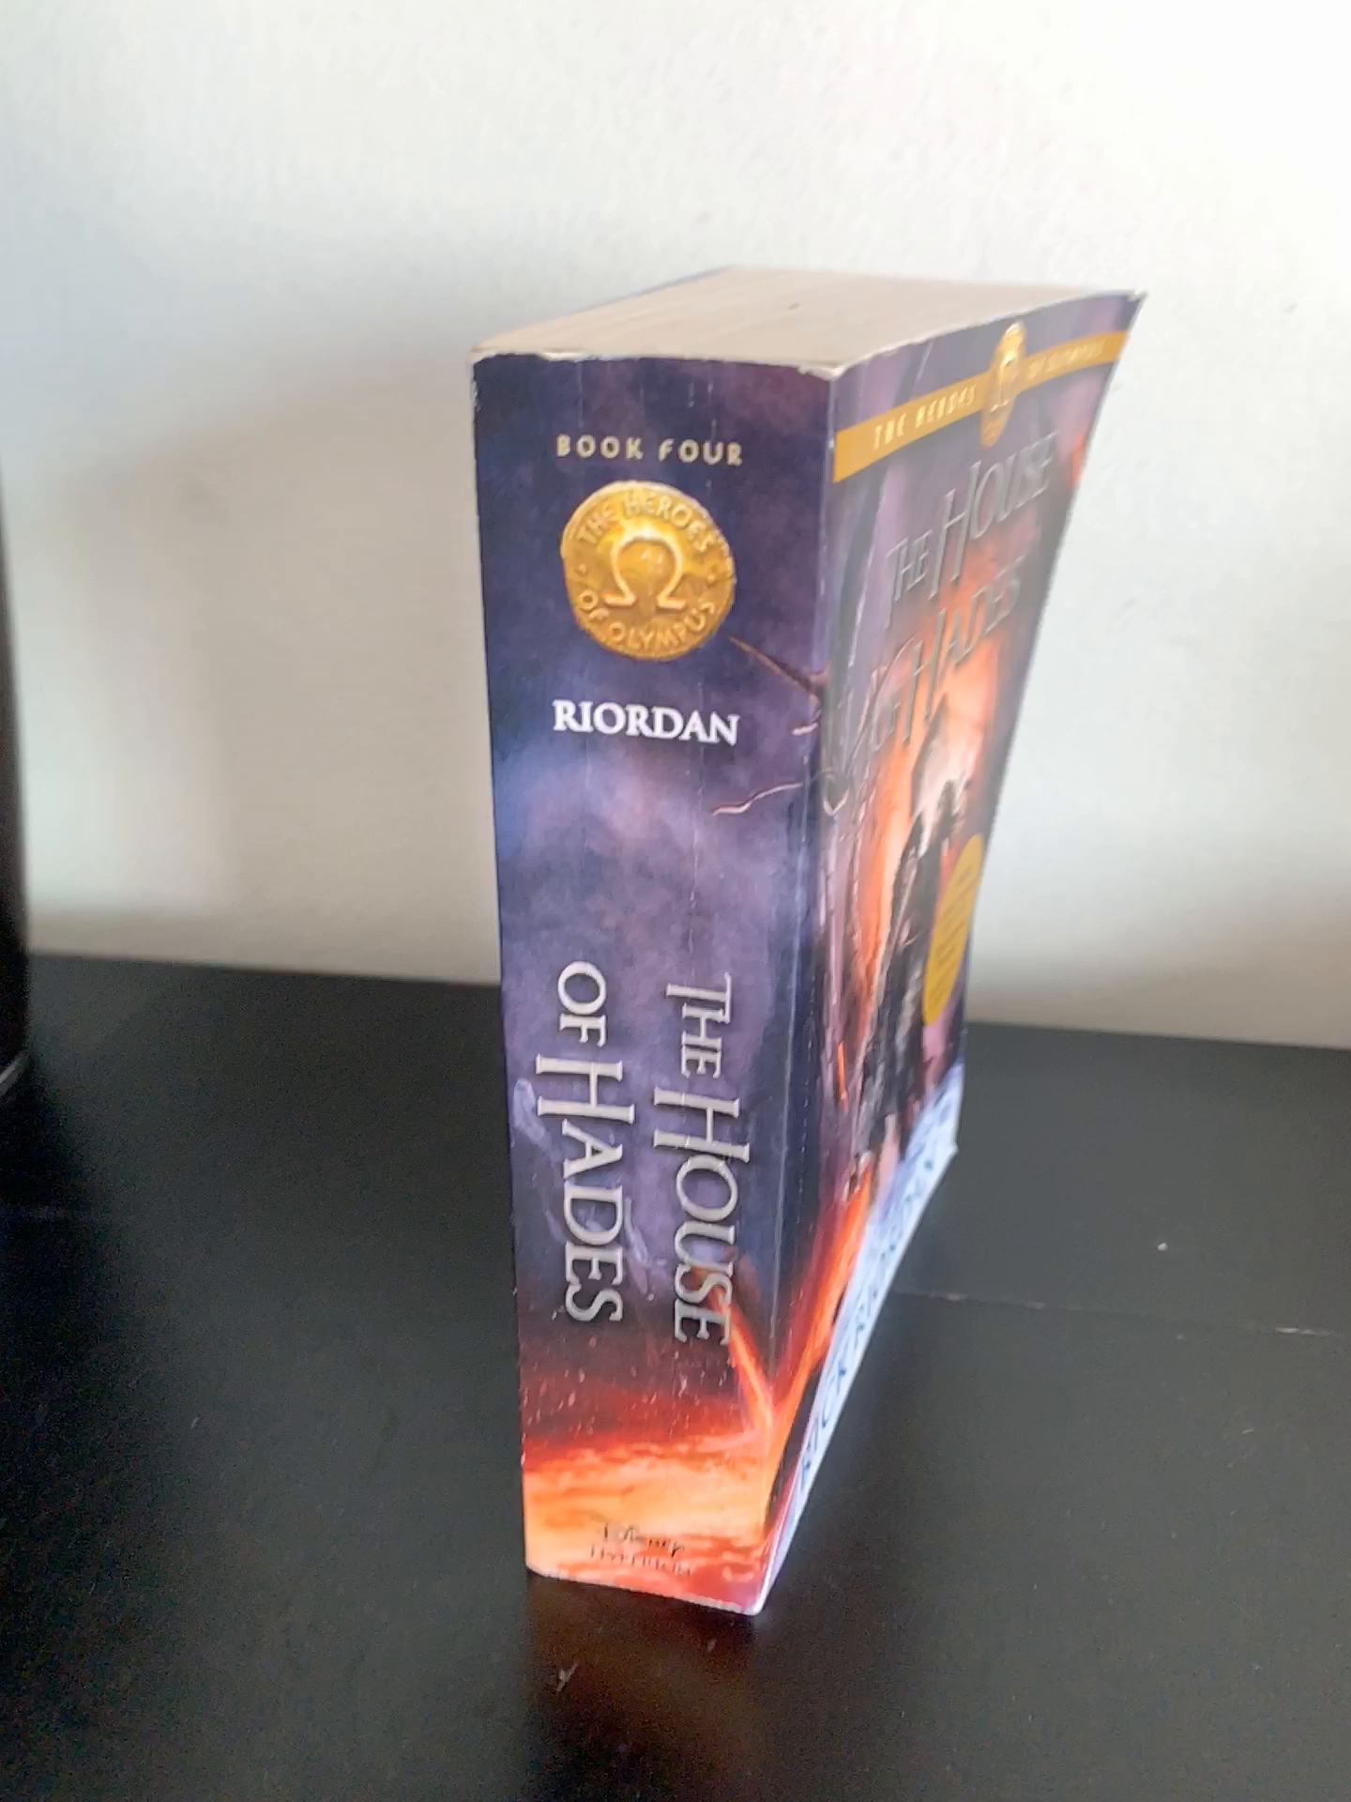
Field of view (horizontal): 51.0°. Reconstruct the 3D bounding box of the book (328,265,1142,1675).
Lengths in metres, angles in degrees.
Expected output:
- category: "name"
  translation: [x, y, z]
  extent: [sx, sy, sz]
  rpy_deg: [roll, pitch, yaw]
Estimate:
- category: "book"
  translation: [0.016, -0.005, 0.234]
  extent: [0.077, 0.176, 0.145]
  rpy_deg: [7, 26, 10]
